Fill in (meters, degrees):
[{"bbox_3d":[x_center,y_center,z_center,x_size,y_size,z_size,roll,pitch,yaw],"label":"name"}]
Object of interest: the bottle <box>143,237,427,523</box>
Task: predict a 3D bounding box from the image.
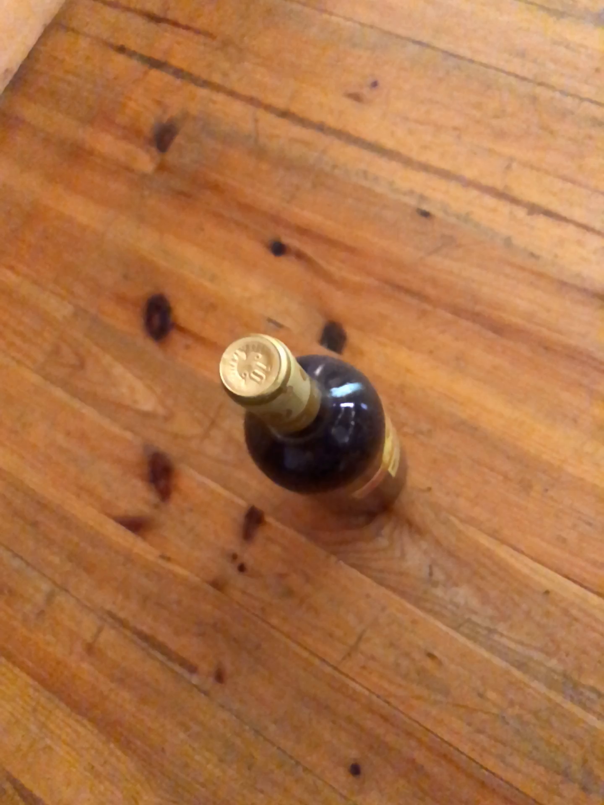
[{"bbox_3d":[0.016,0.016,0.381,0.080,0.290,0.080,-3,78,12],"label":"bottle"}]
